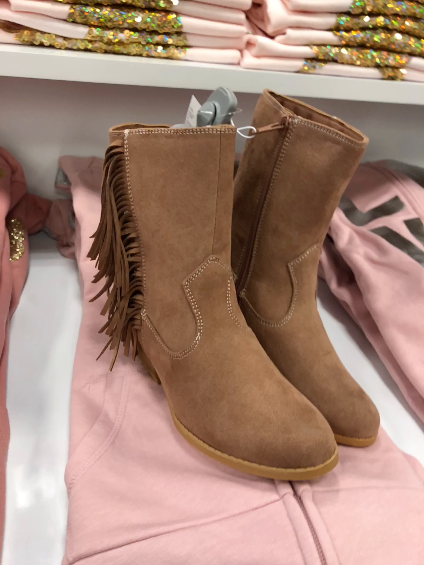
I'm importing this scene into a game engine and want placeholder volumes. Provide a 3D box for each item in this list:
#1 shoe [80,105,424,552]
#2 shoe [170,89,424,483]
[{"bbox_3d":[0.005,0.008,0.309,0.092,0.199,0.200,-17,35,-32],"label":"shoe"},{"bbox_3d":[0.069,-0.012,0.356,0.092,0.199,0.211,-17,41,-32],"label":"shoe"}]
